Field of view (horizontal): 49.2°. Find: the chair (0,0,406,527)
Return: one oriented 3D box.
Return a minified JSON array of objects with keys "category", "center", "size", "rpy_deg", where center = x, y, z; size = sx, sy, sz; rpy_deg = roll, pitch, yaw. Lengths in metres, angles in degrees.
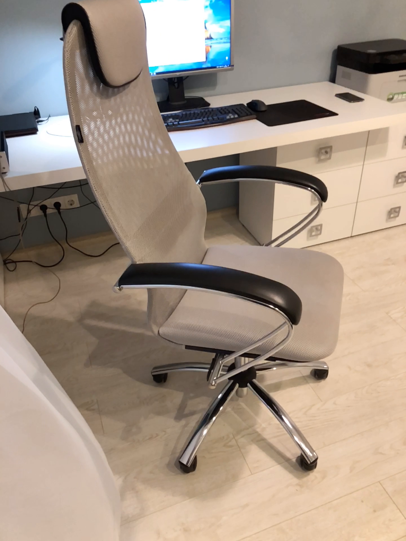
[{"category":"chair","center":[0.087,-0.031,1.271],"size":[0.680,1.290,0.695],"rpy_deg":[9,36,15]}]
